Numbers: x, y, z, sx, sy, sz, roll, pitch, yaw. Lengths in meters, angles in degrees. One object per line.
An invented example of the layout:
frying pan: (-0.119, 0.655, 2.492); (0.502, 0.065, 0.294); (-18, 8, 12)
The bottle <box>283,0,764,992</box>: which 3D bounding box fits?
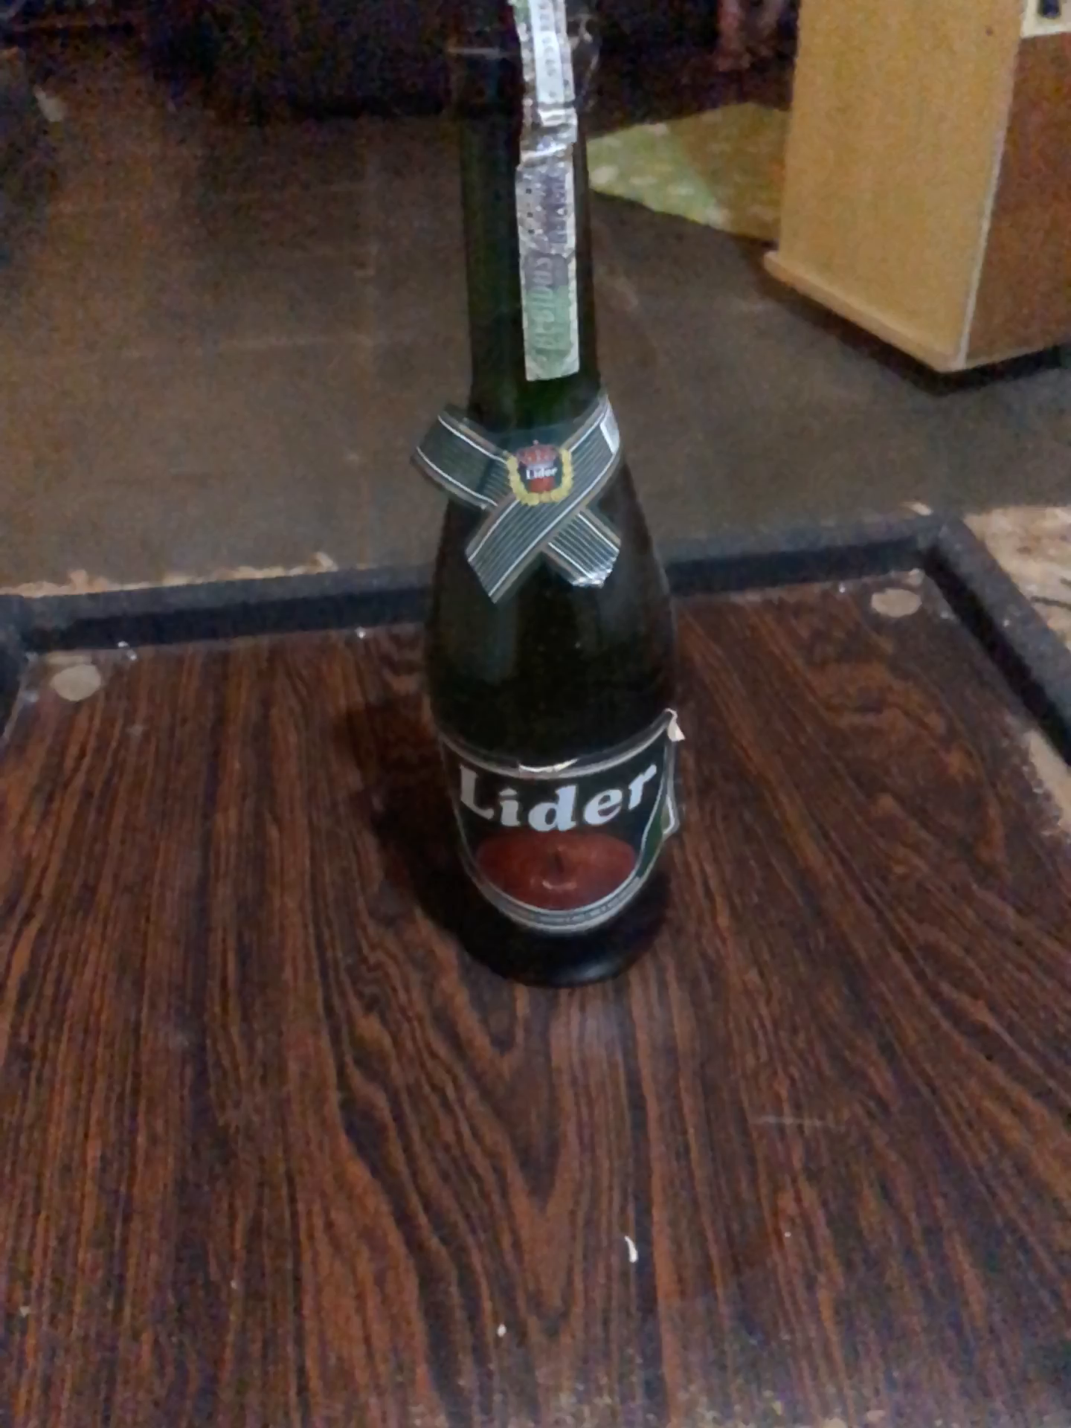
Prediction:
bottle: (0.002, -0.049, 0.342); (0.090, 0.288, 0.081); (-4, 38, -1)
